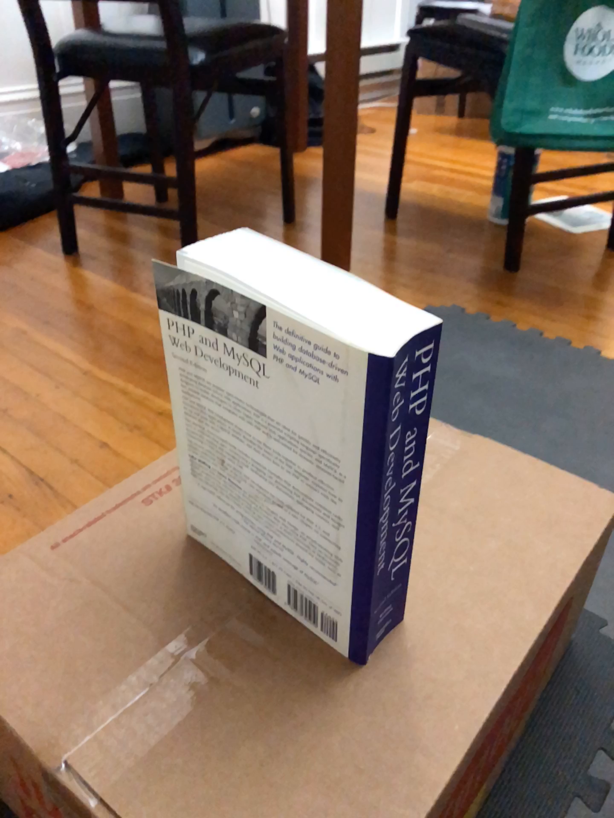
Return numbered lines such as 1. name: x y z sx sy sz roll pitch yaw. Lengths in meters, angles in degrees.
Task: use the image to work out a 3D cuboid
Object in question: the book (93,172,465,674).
1. book: -0.027 0.003 0.446 0.200 0.258 0.090 27 39 33
